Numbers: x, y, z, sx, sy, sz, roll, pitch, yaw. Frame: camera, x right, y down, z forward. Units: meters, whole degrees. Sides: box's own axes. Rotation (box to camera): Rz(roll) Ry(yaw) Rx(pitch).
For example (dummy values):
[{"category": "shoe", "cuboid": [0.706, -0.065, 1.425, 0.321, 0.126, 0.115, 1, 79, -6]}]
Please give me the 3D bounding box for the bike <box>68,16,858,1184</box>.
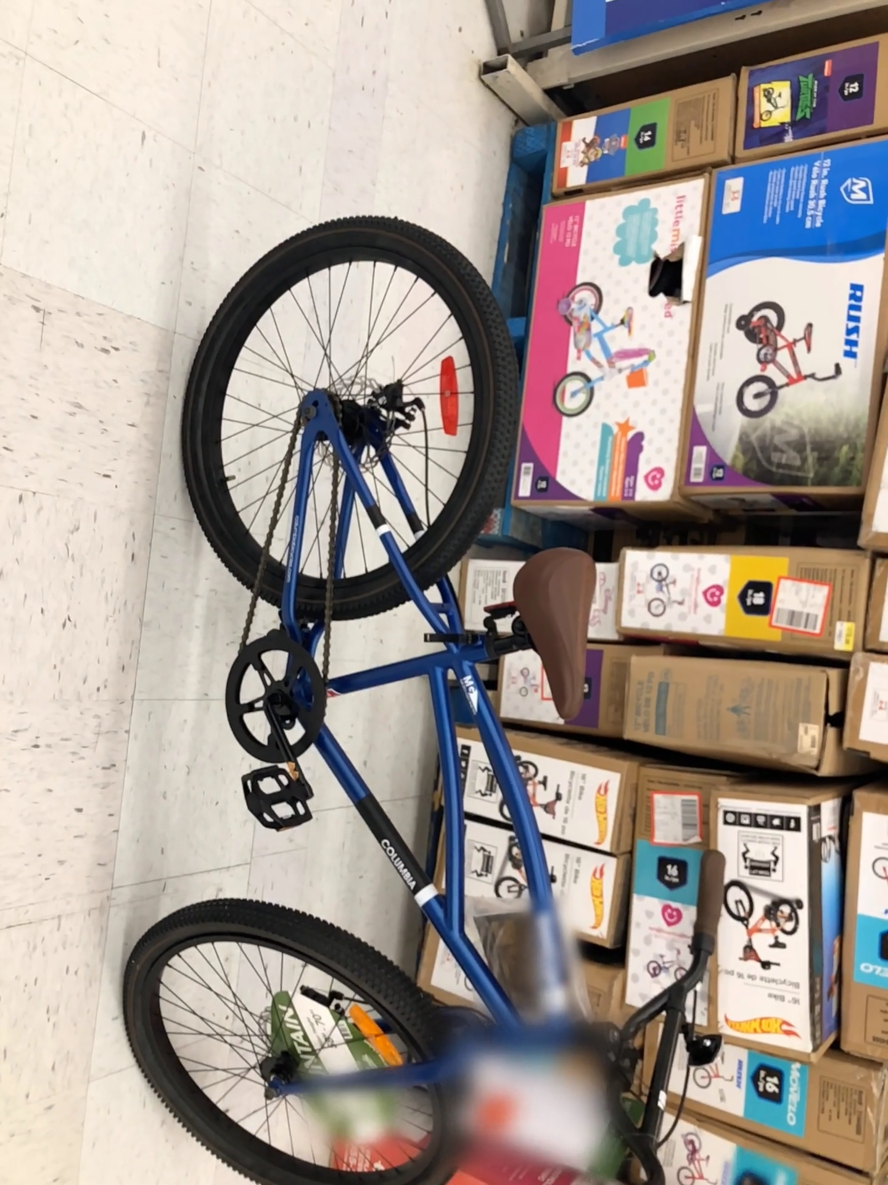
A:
[{"category": "bike", "cuboid": [0.013, 0.237, 1.455, 0.652, 0.928, 1.552, -4, 96, -55]}]
